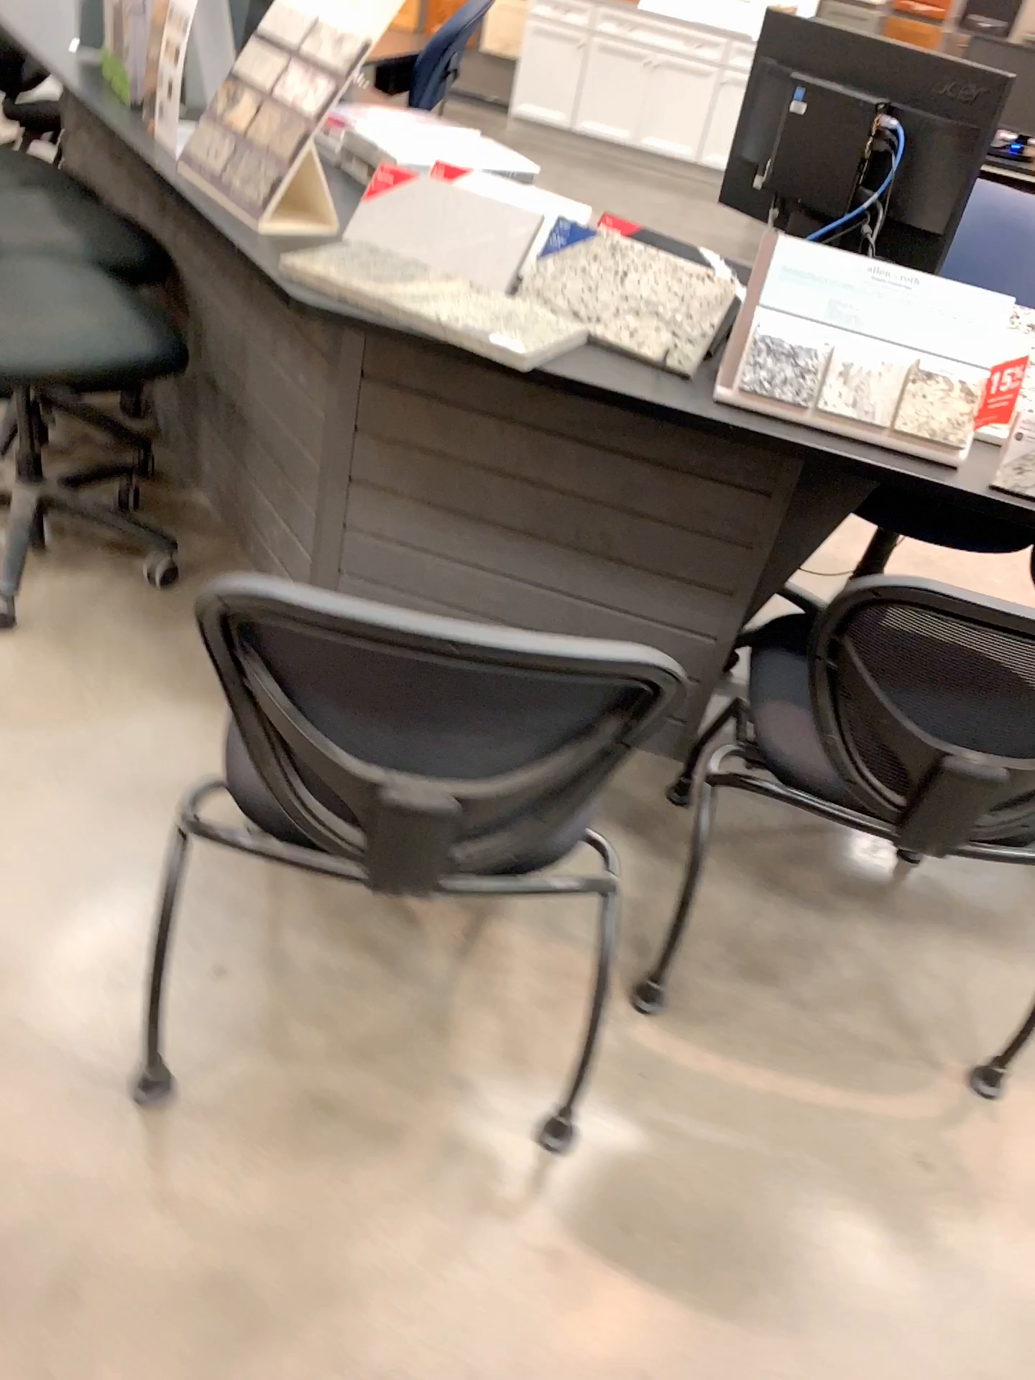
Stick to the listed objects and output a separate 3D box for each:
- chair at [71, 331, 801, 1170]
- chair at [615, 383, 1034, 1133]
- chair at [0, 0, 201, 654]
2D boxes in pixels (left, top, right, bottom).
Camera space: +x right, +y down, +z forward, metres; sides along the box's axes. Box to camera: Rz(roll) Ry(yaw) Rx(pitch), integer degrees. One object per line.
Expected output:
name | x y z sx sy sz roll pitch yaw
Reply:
chair | -0.131 0.086 1.328 0.604 0.777 0.597 9 36 -7
chair | 0.566 0.091 1.551 0.594 0.777 0.587 16 36 3
chair | -1.022 -0.670 1.993 0.645 0.886 0.707 -8 43 -28
